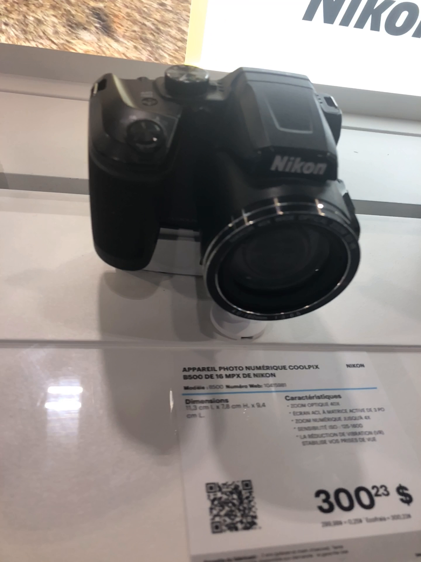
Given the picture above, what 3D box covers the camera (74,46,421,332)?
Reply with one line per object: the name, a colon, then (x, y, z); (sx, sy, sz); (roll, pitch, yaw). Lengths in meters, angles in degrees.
camera: (0.009, -0.036, 0.184); (0.111, 0.069, 0.085); (2, 42, -11)
